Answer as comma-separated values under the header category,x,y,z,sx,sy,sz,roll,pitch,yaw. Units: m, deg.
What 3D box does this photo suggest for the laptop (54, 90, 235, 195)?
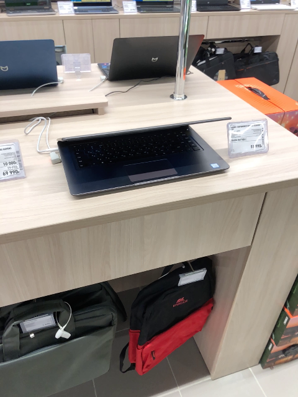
category,x,y,z,sx,sy,sz,roll,pitch,yaw
laptop,-0.020,-0.144,0.745,0.344,0.099,0.222,-10,40,-17
